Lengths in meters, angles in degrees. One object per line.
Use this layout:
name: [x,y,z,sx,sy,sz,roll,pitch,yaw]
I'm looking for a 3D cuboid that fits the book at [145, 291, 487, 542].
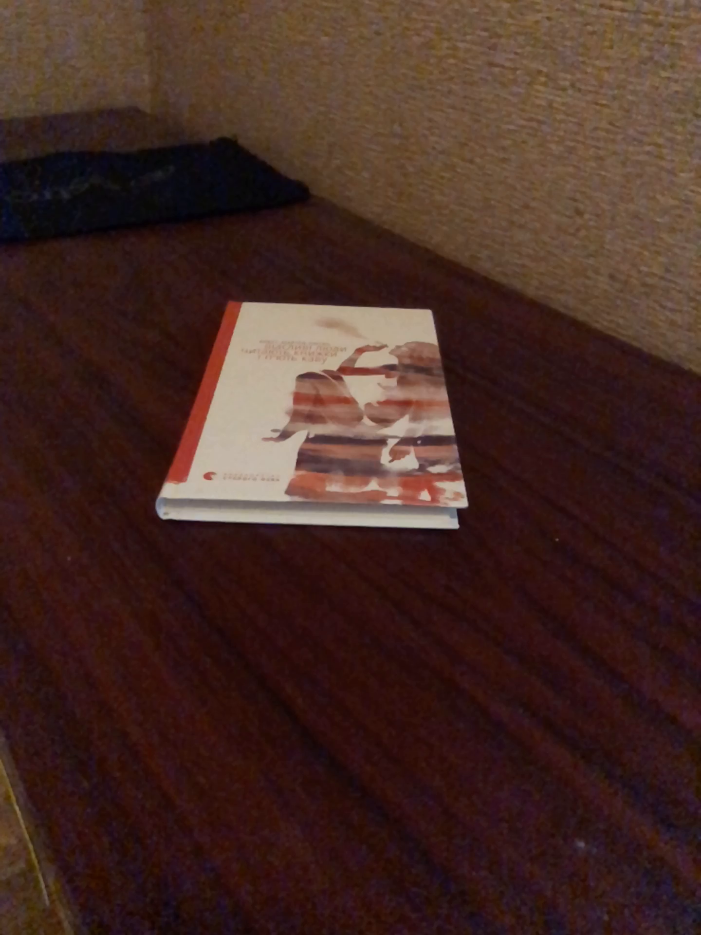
book: [-0.014,-0.043,0.438,0.150,0.020,0.229,3,35,-1]
